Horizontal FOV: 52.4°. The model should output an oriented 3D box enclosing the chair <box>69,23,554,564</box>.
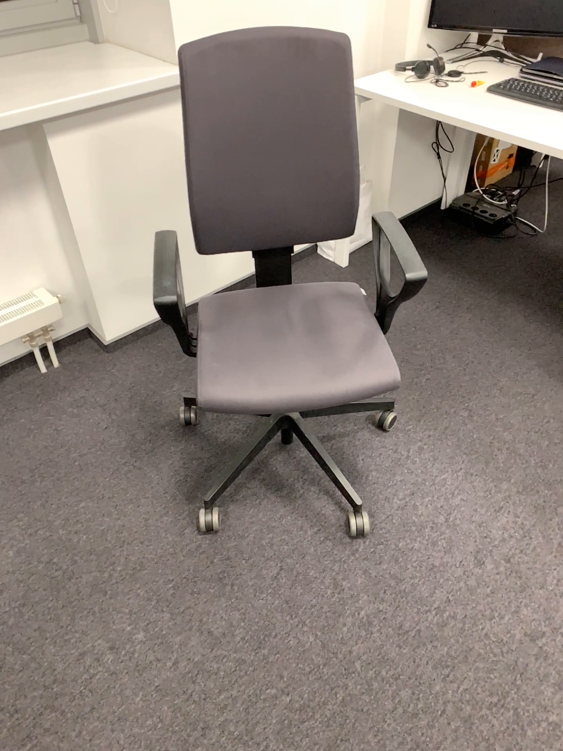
[{"bbox_3d":[0.014,-0.188,1.441,0.700,1.044,0.754,-6,42,-5],"label":"chair"}]
